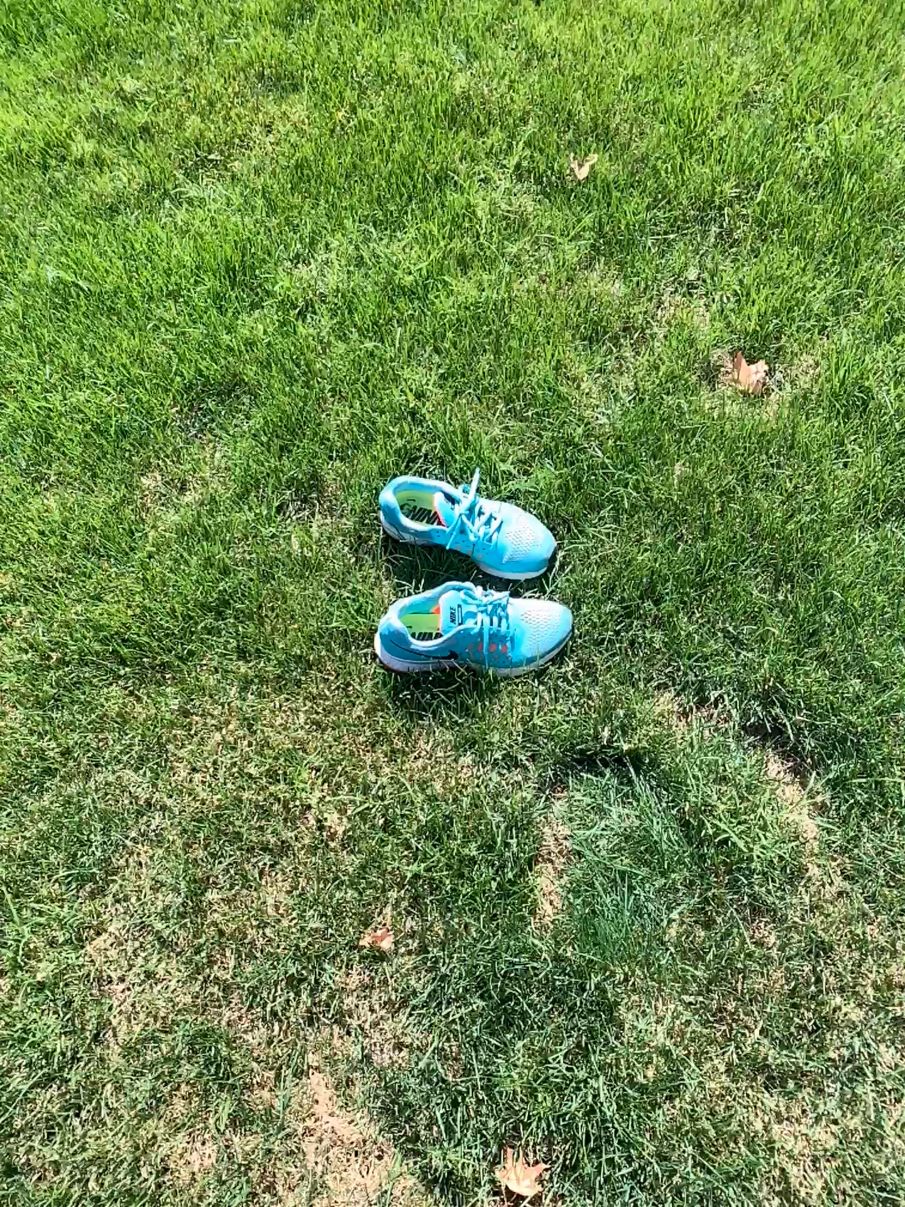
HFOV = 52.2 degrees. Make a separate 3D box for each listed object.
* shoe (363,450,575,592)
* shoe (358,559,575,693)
[{"bbox_3d":[0.025,-0.111,1.227,0.250,0.070,0.120,14,68,13],"label":"shoe"},{"bbox_3d":[0.017,0.030,1.174,0.260,0.090,0.120,-5,62,4],"label":"shoe"}]
